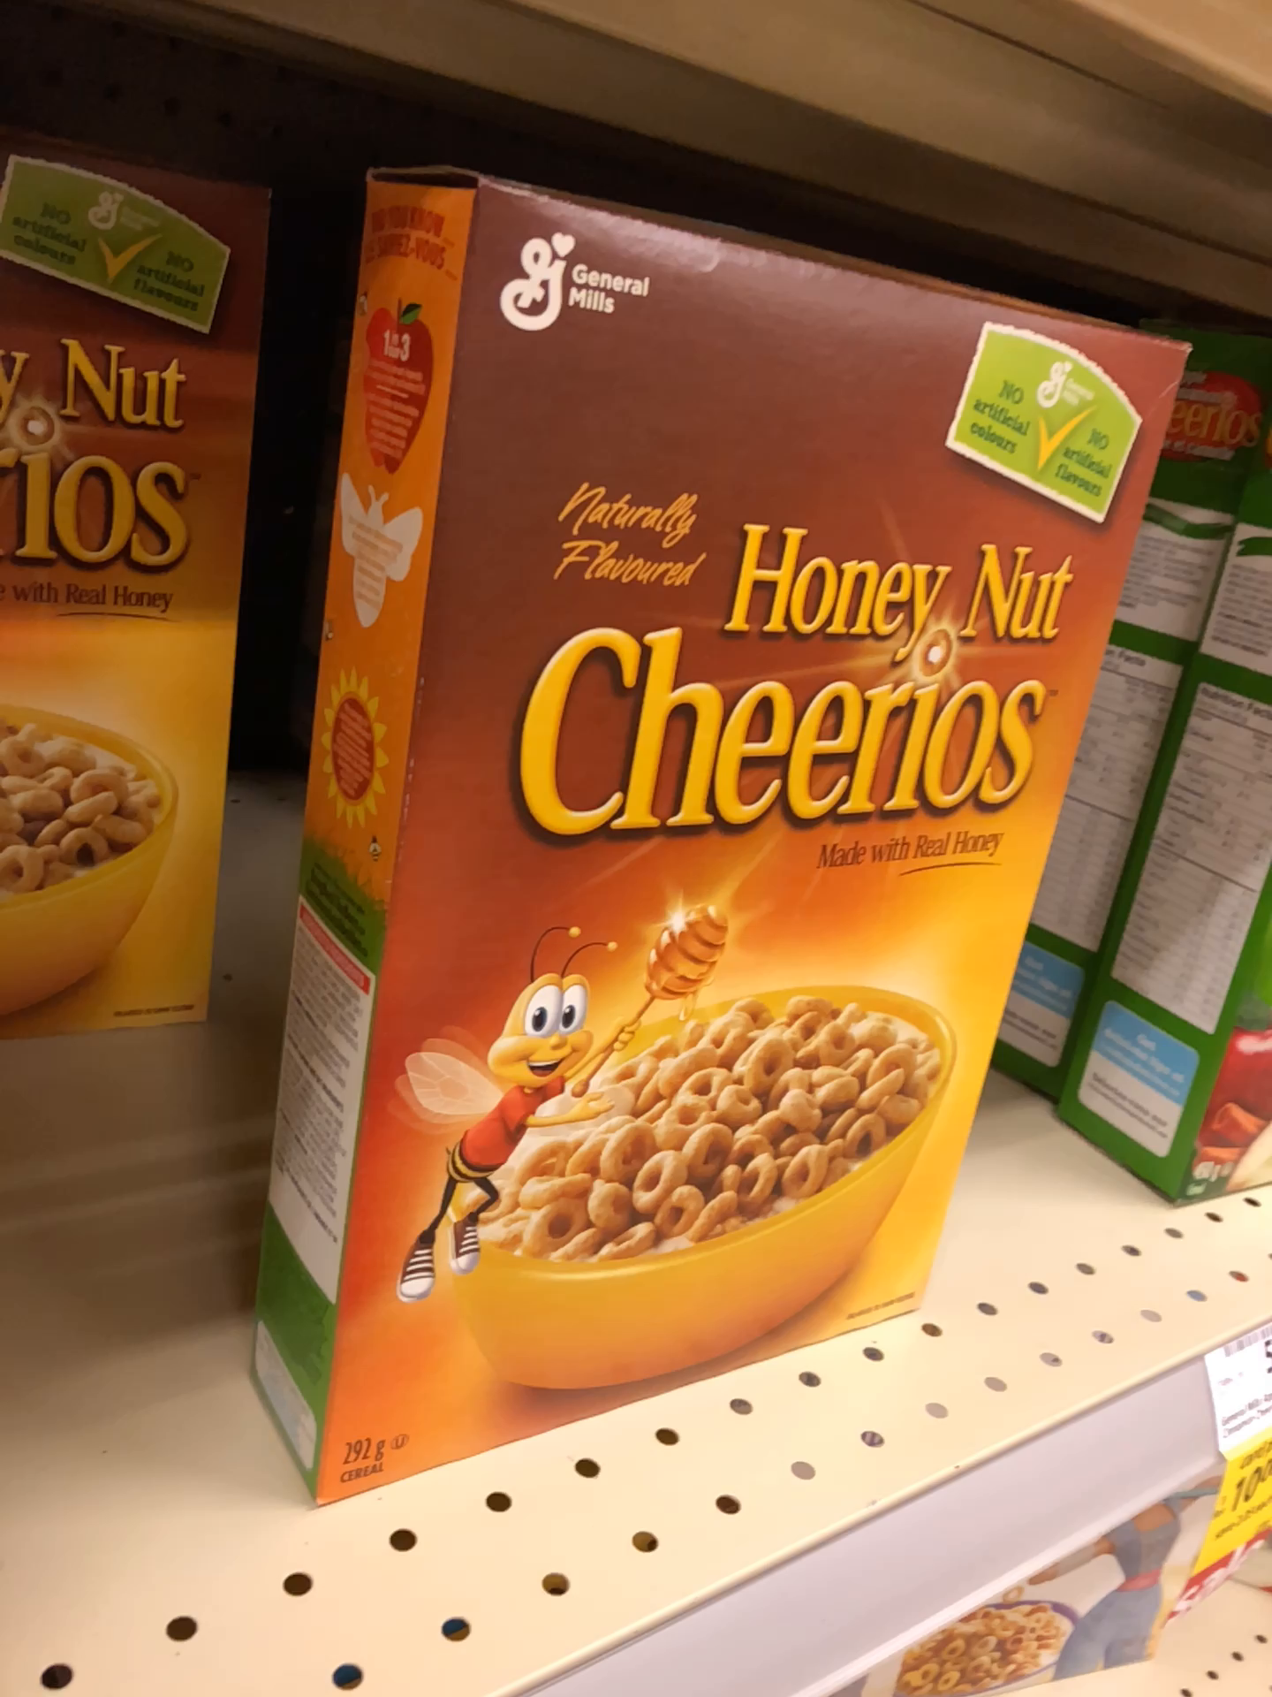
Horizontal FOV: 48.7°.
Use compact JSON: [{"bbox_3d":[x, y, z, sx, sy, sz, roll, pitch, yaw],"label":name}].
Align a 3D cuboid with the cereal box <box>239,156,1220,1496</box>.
[{"bbox_3d":[0.018,0.000,0.340,0.190,0.269,0.060,-3,23,-34],"label":"cereal box"}]
